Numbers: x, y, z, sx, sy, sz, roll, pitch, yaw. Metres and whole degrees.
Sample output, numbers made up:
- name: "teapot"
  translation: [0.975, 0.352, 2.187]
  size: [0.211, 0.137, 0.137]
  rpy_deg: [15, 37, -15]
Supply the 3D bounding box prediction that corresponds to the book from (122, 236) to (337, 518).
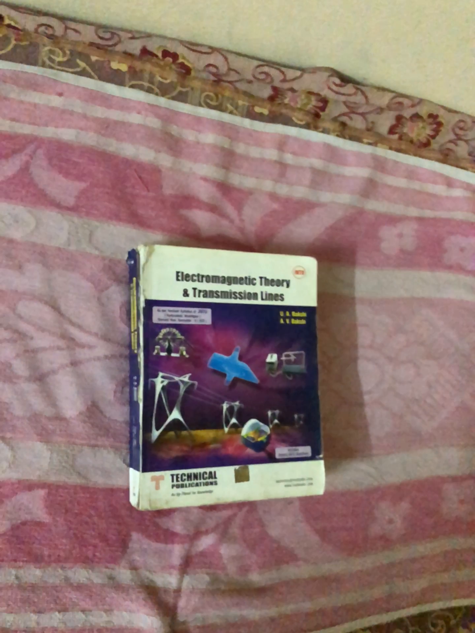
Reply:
- name: "book"
  translation: [-0.011, 0.055, 0.530]
  size: [0.200, 0.060, 0.250]
  rpy_deg: [1, 82, -19]
